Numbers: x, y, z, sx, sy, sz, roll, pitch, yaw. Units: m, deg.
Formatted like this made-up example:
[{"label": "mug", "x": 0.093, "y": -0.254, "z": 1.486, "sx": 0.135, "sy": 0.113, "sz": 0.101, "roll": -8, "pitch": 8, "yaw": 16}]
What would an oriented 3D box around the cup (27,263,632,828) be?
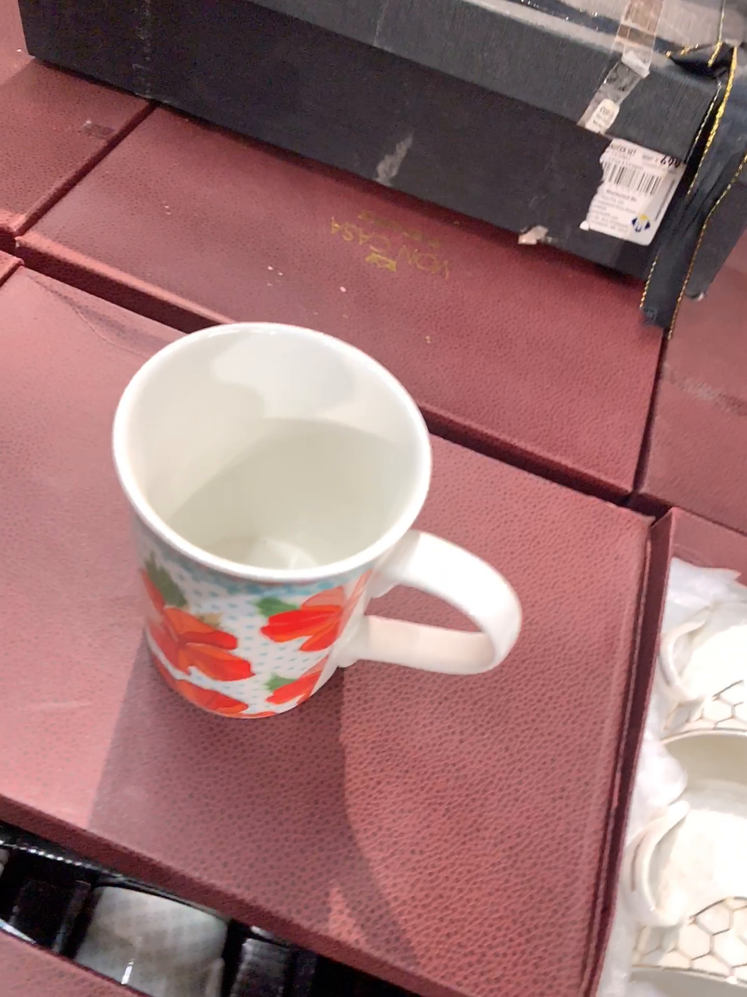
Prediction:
[{"label": "cup", "x": -0.013, "y": 0.021, "z": 0.224, "sx": 0.120, "sy": 0.110, "sz": 0.080, "roll": 23, "pitch": 55, "yaw": 2}]
